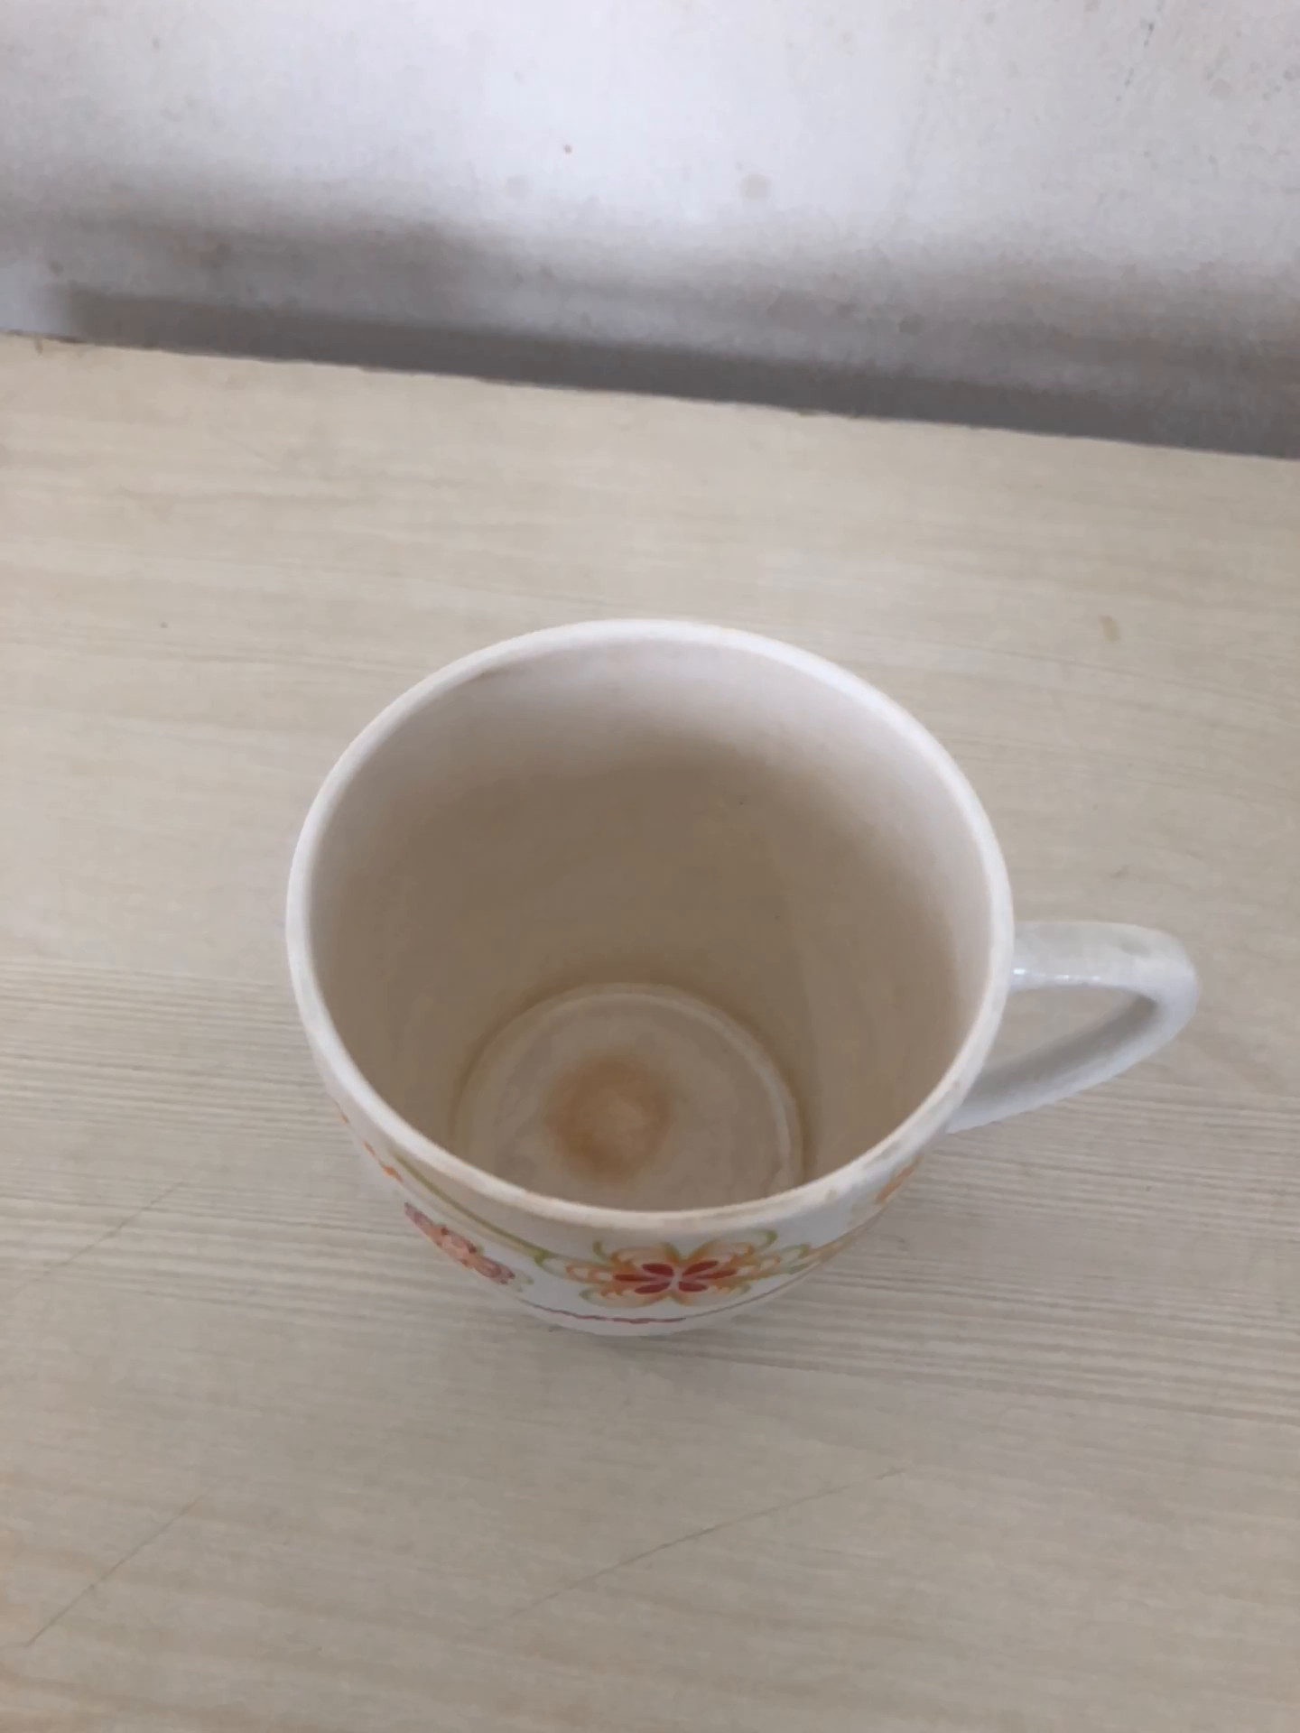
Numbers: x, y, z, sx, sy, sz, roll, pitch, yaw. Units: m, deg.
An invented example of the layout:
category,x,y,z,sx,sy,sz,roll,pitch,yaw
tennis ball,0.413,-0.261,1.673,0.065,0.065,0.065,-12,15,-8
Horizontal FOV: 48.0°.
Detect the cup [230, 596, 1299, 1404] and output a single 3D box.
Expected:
category,x,y,z,sx,sy,sz,roll,pitch,yaw
cup,0.017,0.019,0.176,0.110,0.070,0.070,1,56,-3
